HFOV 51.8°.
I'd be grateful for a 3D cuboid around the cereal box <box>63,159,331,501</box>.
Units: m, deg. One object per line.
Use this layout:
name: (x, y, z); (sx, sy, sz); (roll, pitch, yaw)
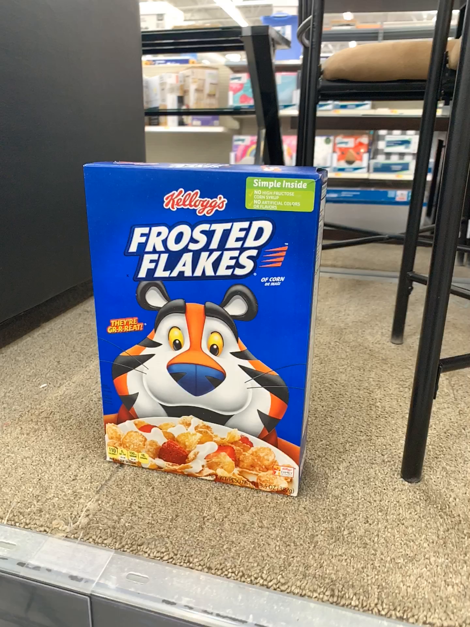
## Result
cereal box: (-0.031, 0.012, 0.449); (0.210, 0.289, 0.070); (6, 20, 14)
